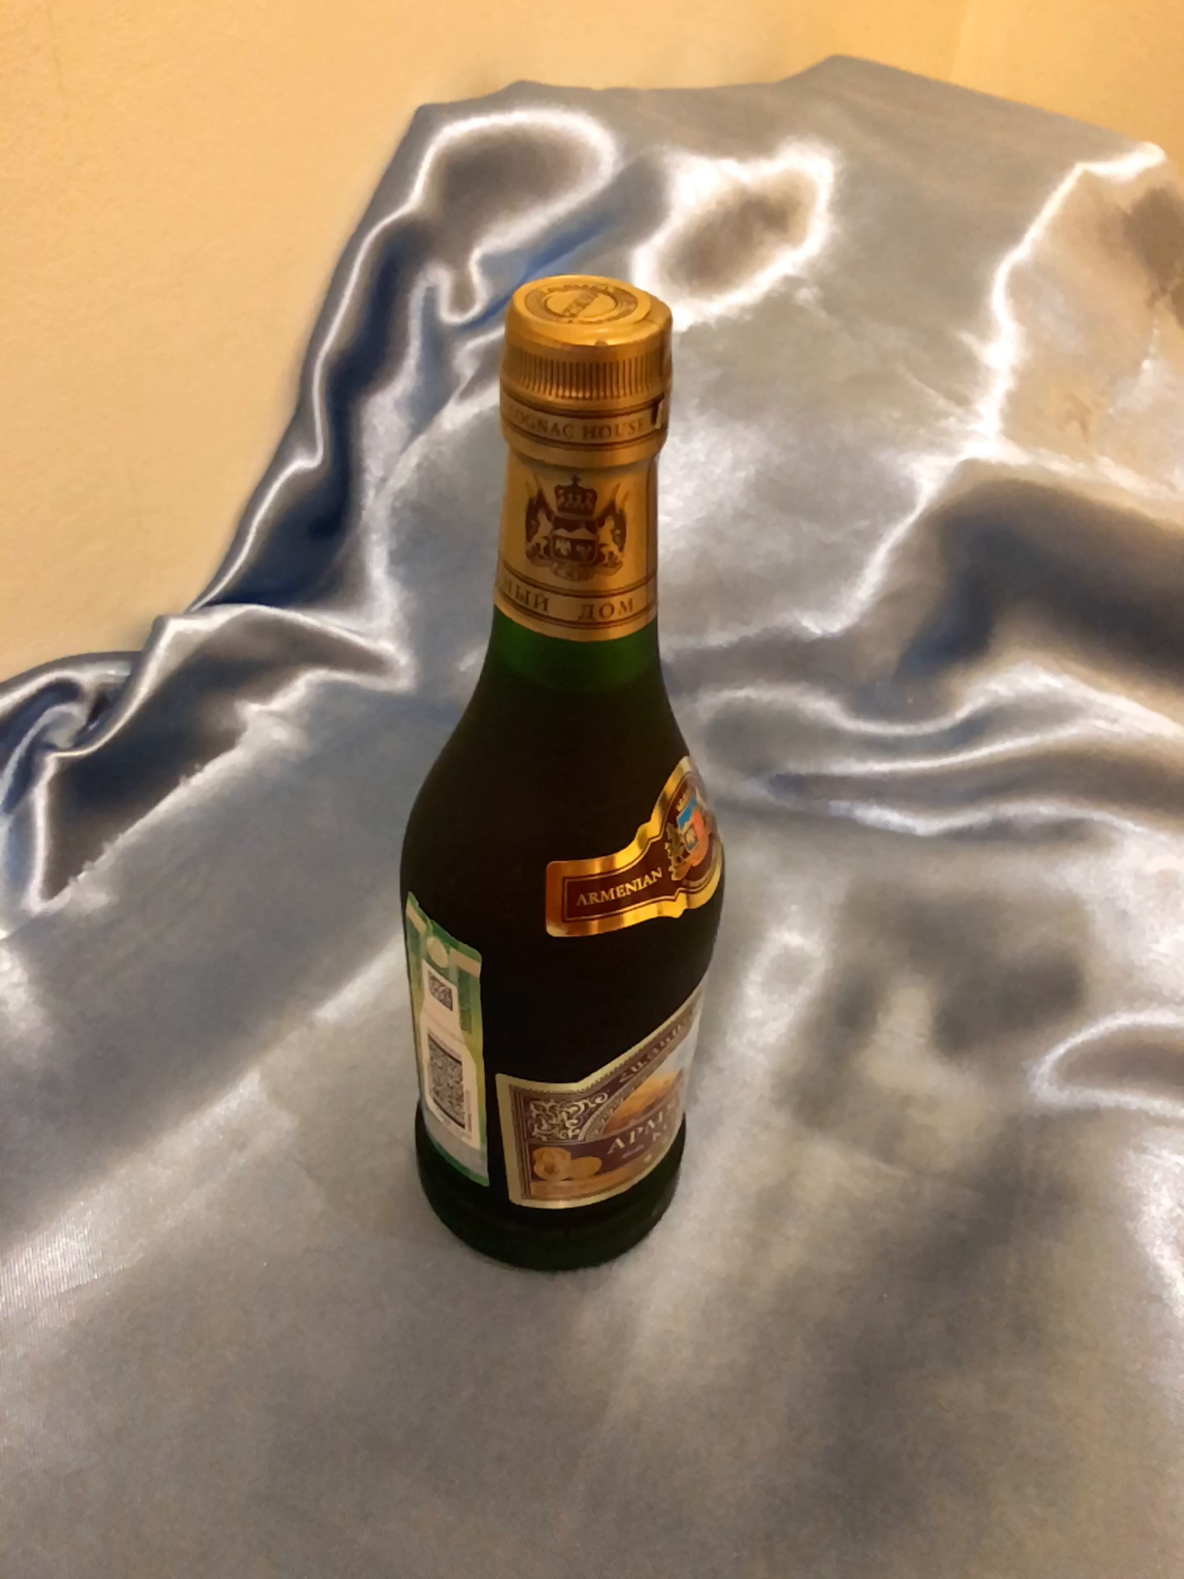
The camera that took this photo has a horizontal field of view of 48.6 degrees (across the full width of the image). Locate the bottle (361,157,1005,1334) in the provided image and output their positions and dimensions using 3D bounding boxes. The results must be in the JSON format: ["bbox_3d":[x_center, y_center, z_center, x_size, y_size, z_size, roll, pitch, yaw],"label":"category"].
[{"bbox_3d":[0.007,0.013,0.282,0.074,0.247,0.081,4,45,-4],"label":"bottle"}]
